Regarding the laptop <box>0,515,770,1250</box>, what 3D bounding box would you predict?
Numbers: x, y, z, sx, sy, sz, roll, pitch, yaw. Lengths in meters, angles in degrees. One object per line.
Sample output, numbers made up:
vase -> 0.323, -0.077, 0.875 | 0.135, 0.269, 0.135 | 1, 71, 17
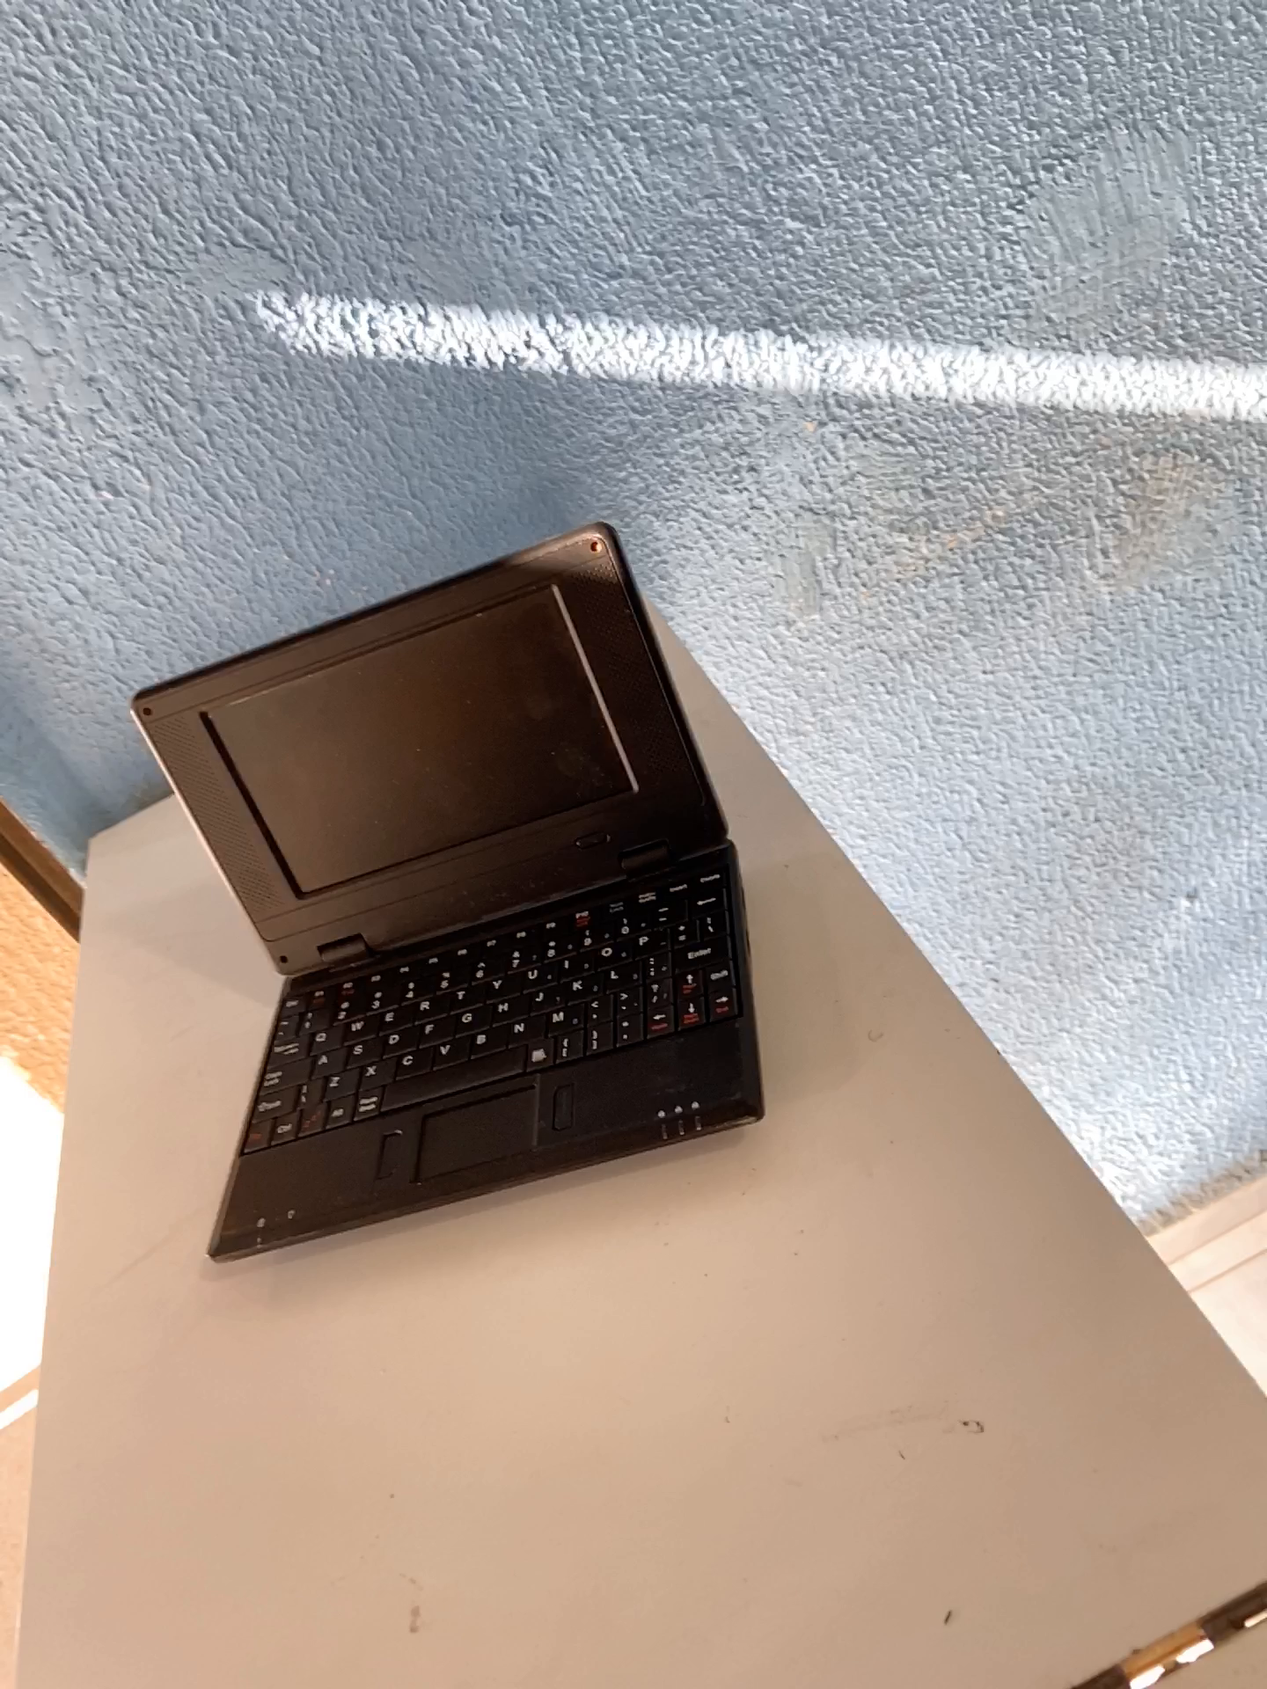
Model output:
laptop -> -0.083, 0.013, 0.486 | 0.216, 0.137, 0.180 | -17, 38, 13
